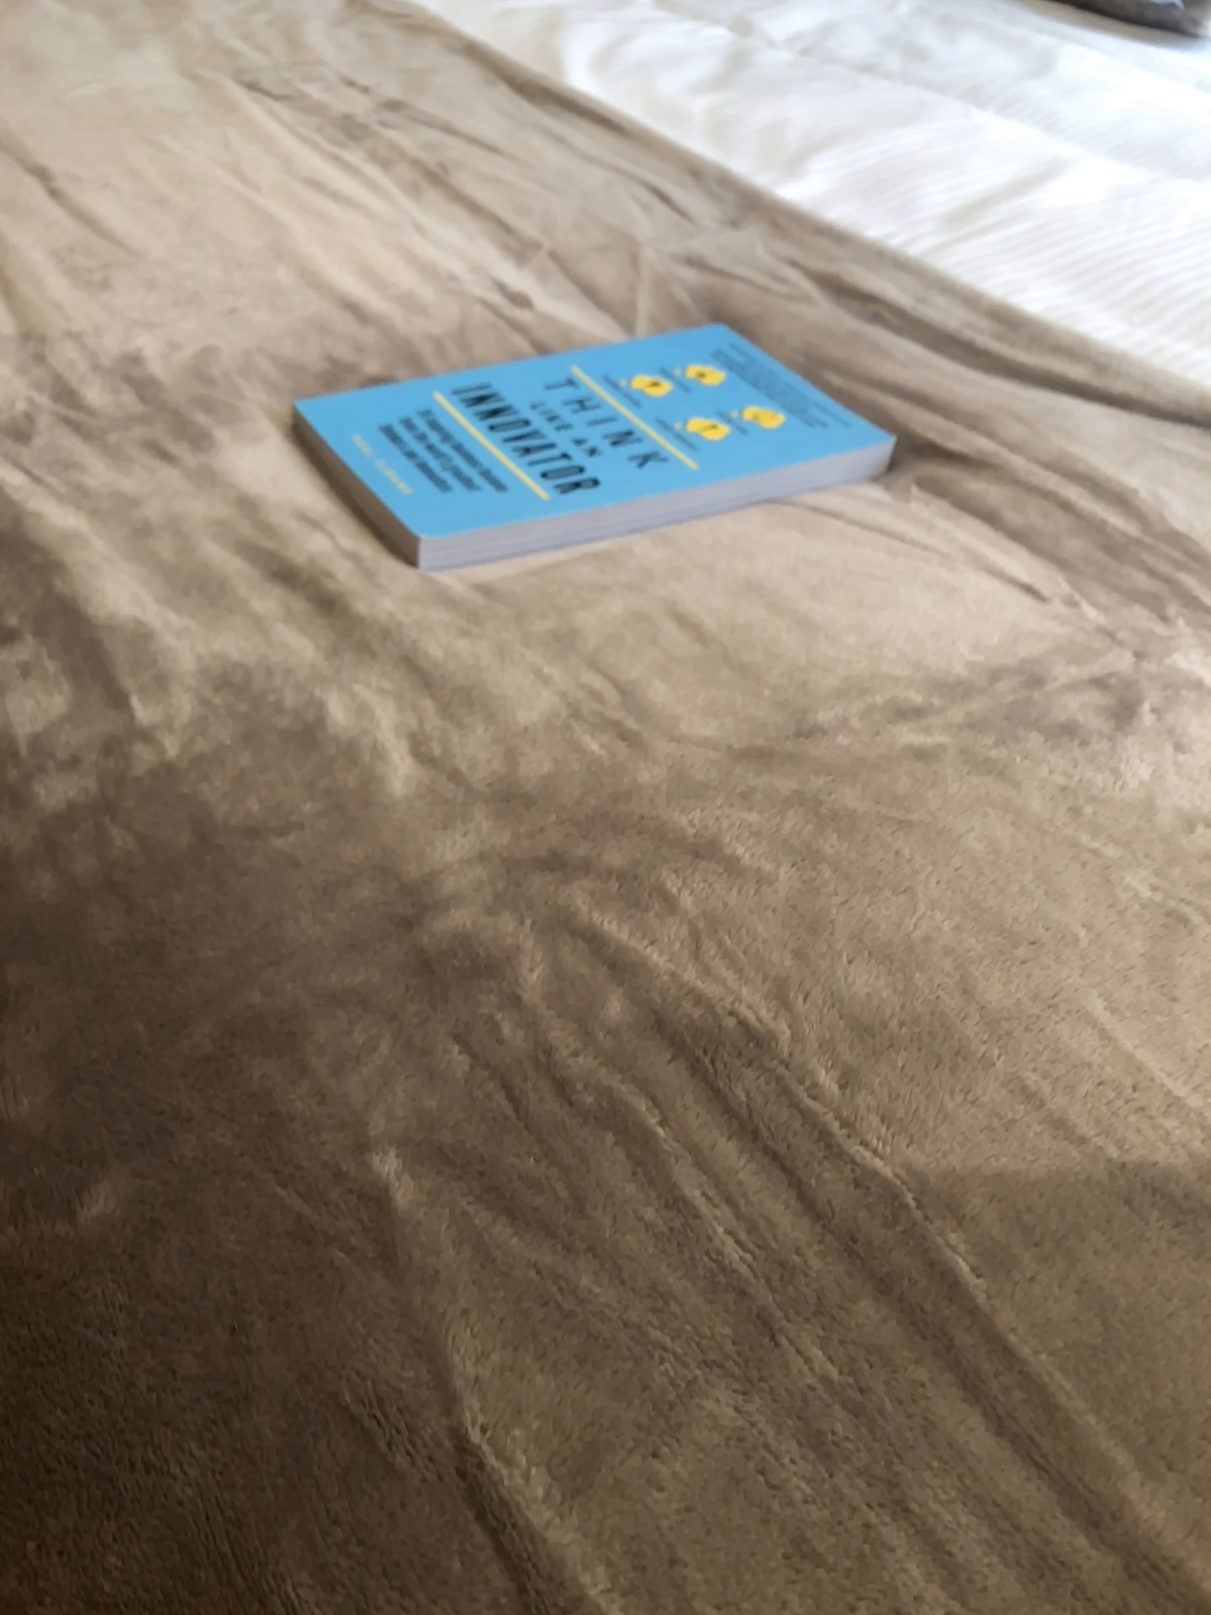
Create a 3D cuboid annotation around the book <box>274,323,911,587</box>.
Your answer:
[{"bbox_3d":[-0.006,-0.154,0.555,0.221,0.020,0.140,-18,43,-24],"label":"book"}]
